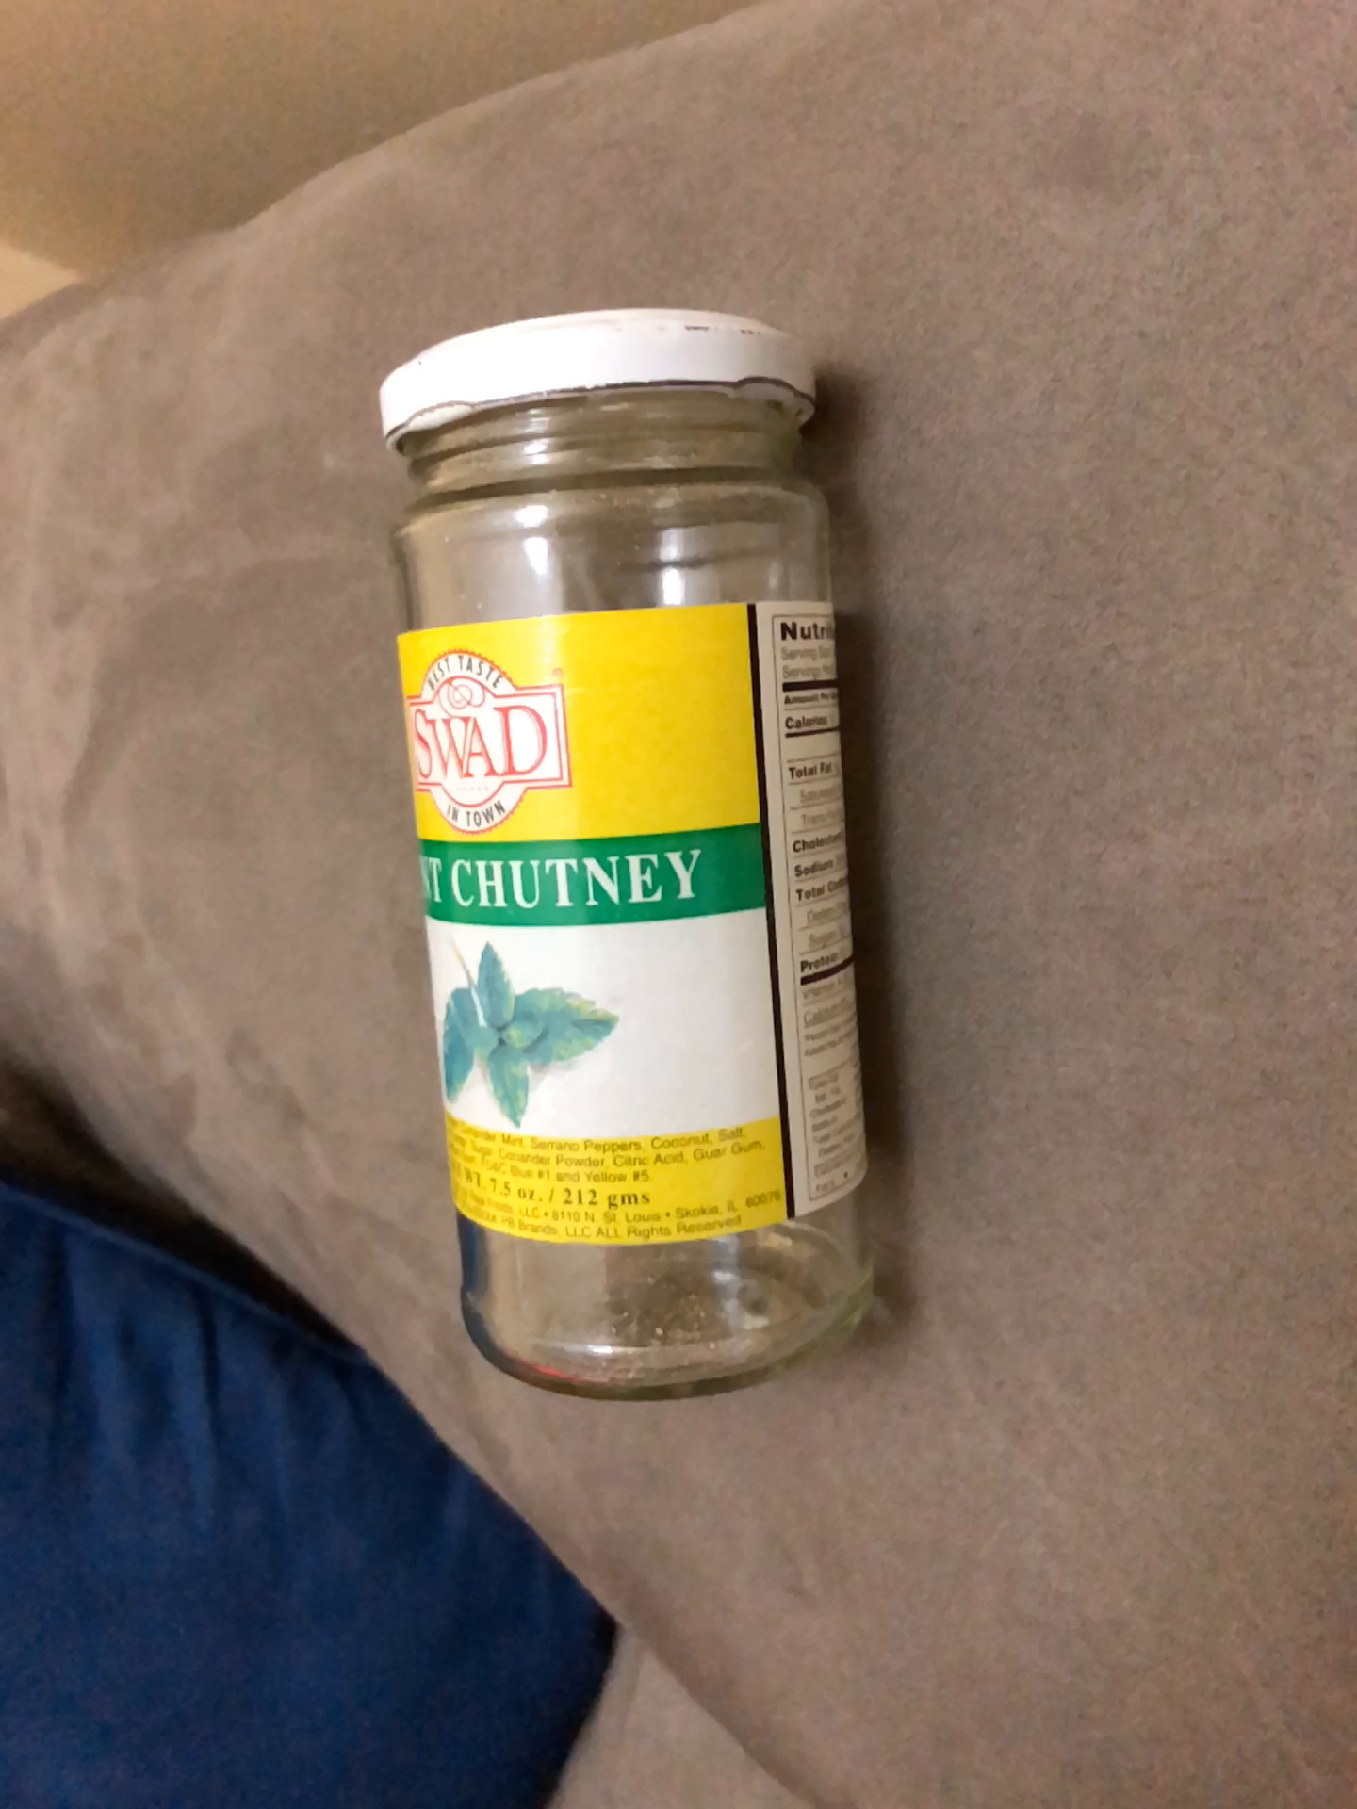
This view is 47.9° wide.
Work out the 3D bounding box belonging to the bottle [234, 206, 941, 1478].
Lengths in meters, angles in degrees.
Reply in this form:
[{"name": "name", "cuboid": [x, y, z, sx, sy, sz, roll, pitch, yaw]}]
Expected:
[{"name": "bottle", "cuboid": [-0.011, -0.008, 0.205, 0.060, 0.059, 0.137, 5, 102, 48]}]
